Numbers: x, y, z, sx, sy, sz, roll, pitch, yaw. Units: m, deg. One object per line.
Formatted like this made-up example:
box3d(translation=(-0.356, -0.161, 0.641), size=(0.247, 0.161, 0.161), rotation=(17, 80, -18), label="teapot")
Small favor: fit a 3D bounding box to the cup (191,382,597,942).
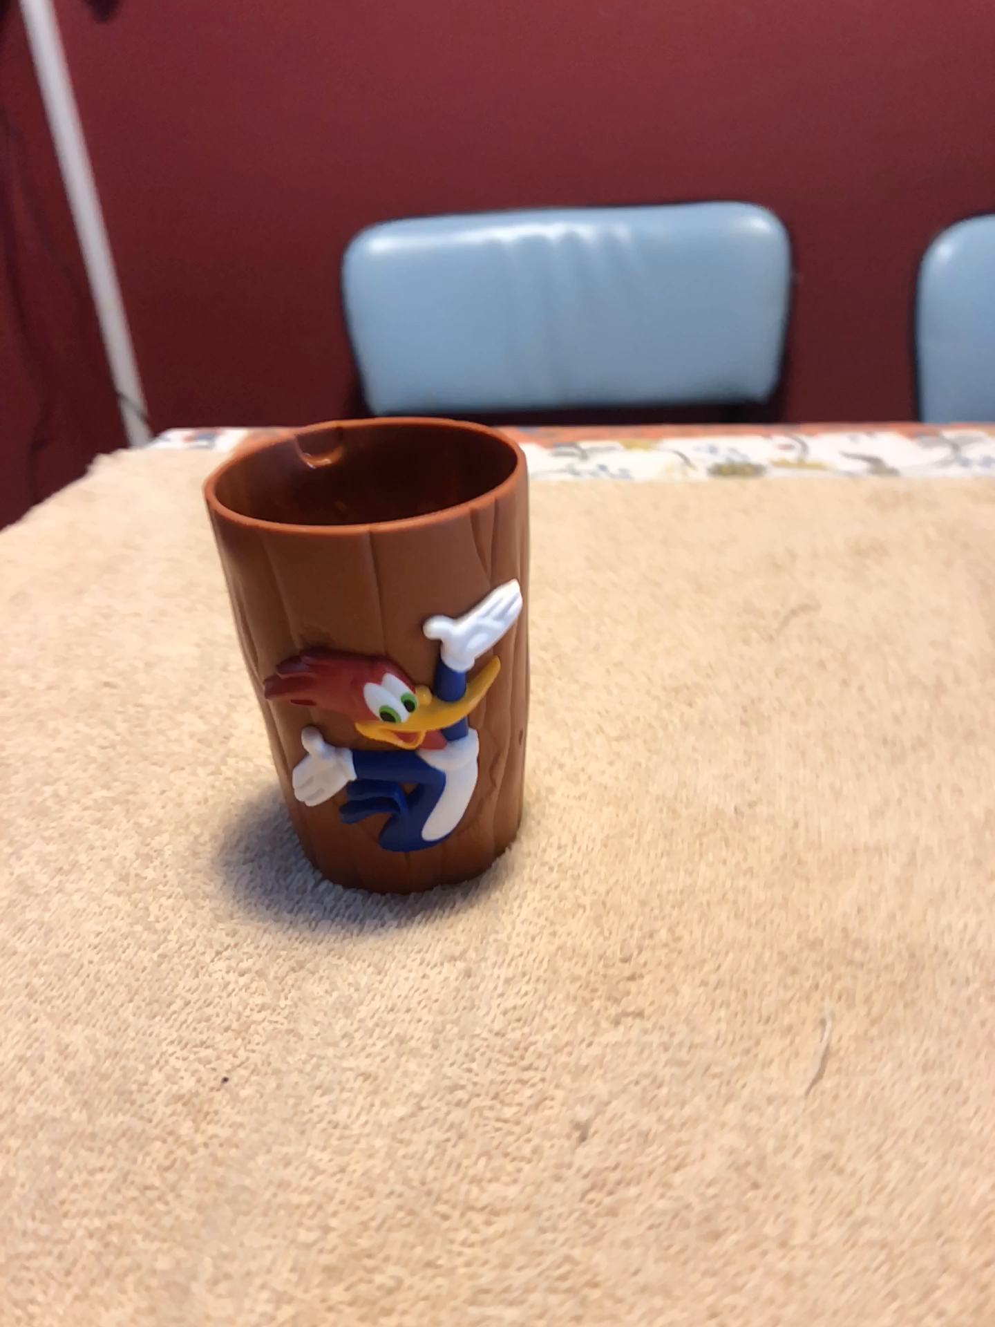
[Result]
box3d(translation=(-0.029, -0.006, 0.301), size=(0.080, 0.109, 0.091), rotation=(-12, 29, -13), label="cup")
